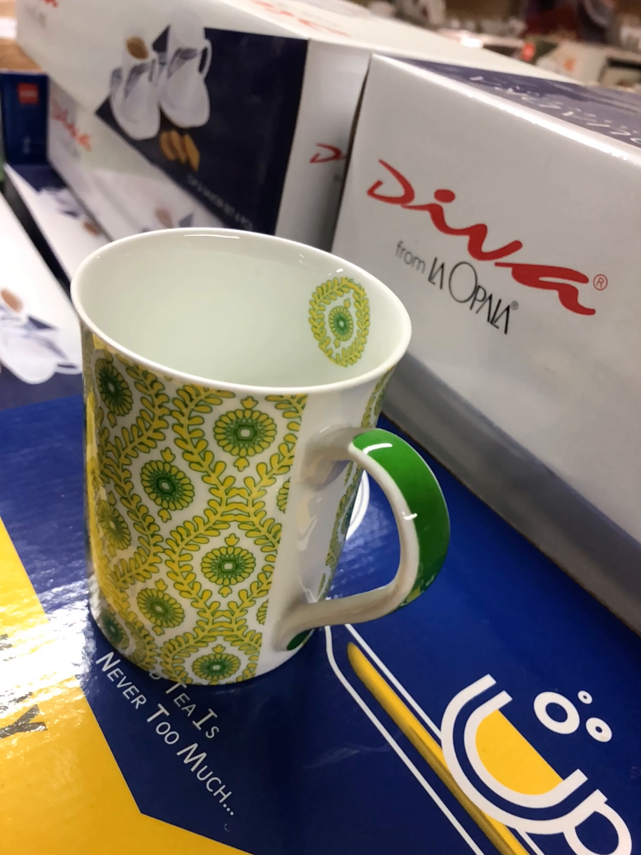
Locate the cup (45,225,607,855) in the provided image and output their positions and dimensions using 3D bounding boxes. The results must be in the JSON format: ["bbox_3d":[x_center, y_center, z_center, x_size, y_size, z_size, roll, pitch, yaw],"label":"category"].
[{"bbox_3d":[-0.012,0.017,0.168,0.070,0.089,0.100,-12,41,-31],"label":"cup"}]
